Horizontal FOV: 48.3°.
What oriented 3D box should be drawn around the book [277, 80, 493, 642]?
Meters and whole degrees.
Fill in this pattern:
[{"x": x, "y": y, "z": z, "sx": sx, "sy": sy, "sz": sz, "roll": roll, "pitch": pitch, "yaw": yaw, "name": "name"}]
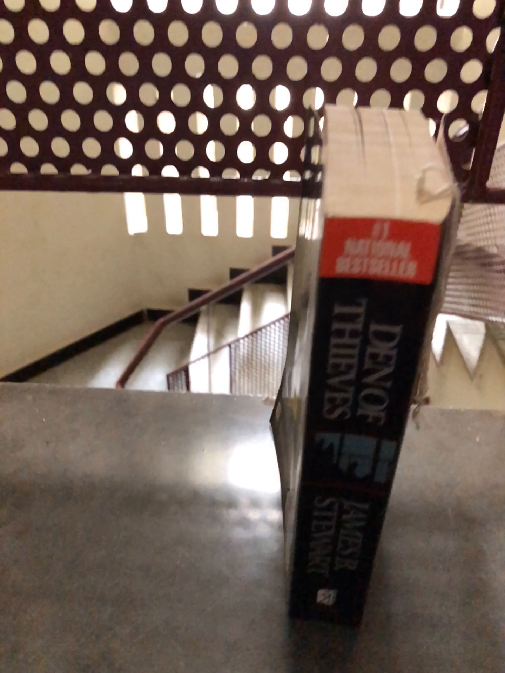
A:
[{"x": 0.048, "y": 0.006, "z": 0.282, "sx": 0.050, "sy": 0.219, "sz": 0.171, "roll": 4, "pitch": 34, "yaw": 6, "name": "book"}]
